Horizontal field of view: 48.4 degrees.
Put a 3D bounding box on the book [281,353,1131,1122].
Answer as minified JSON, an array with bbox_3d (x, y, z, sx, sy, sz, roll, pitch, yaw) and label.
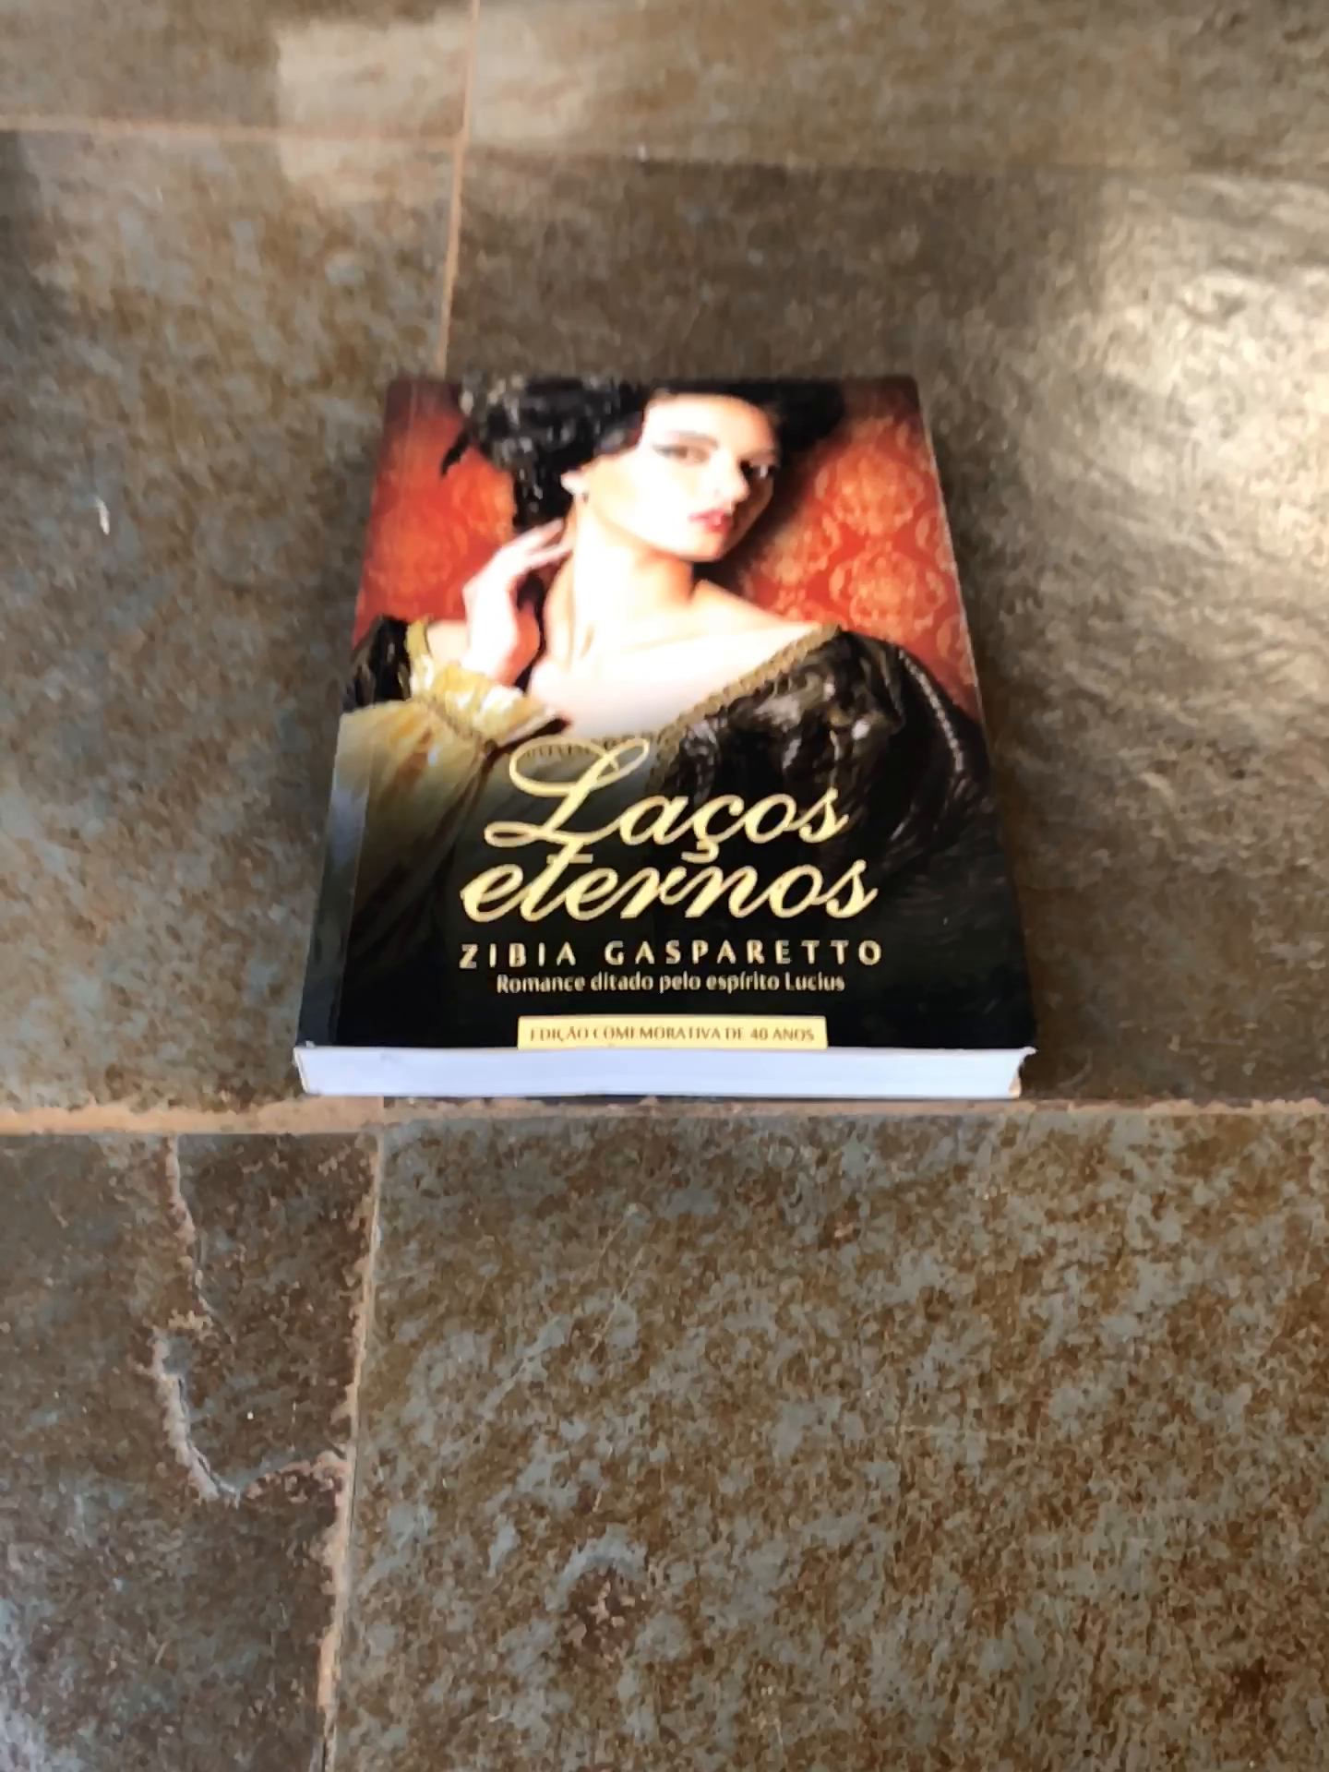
[{"bbox_3d":[0.005,-0.045,0.336,0.153,0.027,0.205,1,54,-4],"label":"book"}]
